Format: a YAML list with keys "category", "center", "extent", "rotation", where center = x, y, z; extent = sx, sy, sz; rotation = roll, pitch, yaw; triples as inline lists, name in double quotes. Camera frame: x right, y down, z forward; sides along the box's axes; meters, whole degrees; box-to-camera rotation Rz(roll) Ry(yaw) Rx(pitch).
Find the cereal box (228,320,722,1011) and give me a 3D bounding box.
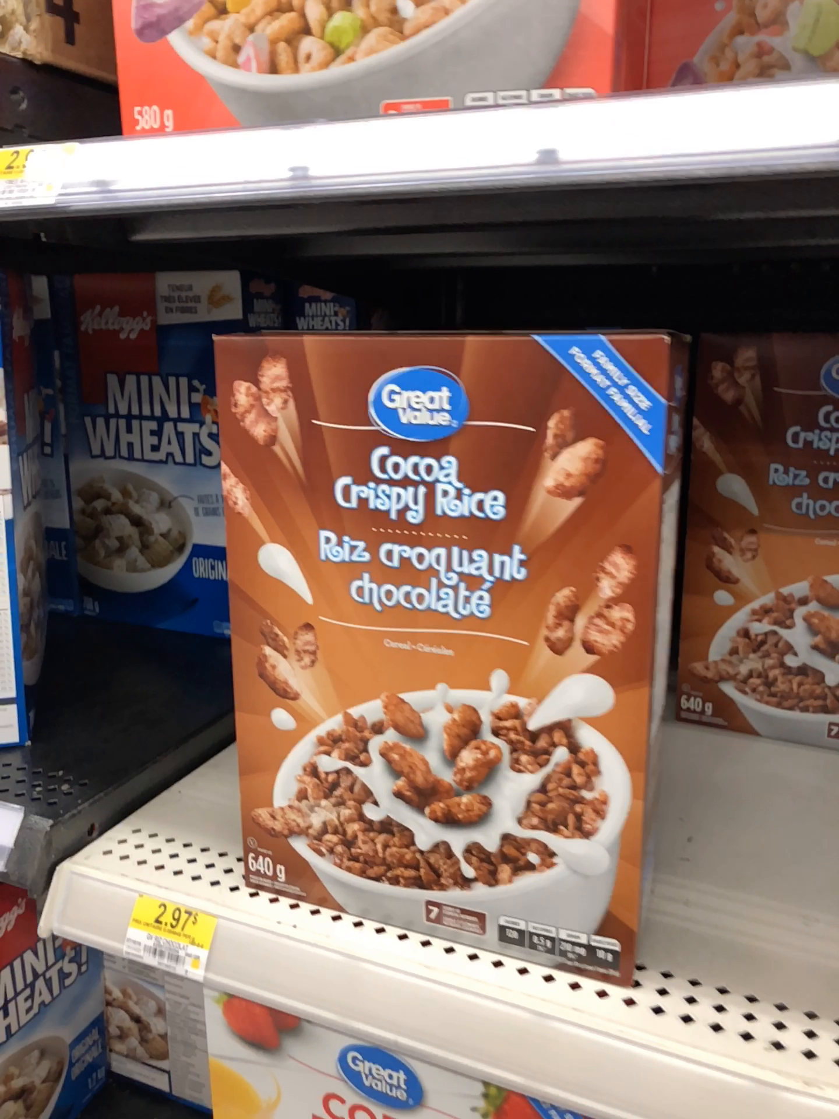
- category: "cereal box"
  center: [0.025, 0.038, 0.456]
  extent: [0.210, 0.299, 0.080]
  rotation: [5, 14, 22]
